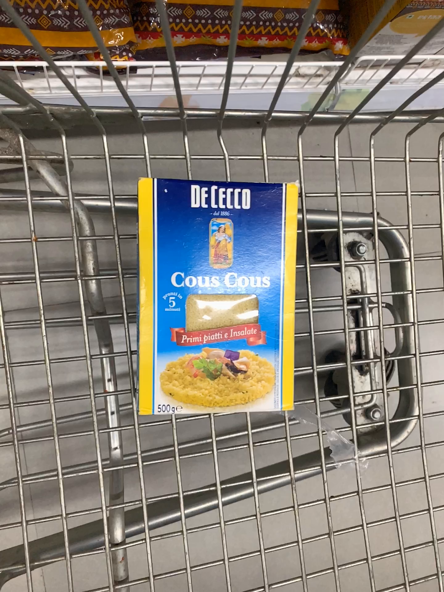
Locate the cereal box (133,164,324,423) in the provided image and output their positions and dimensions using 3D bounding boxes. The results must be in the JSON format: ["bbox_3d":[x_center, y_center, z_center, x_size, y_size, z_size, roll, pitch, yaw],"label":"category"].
[{"bbox_3d":[0.002,-0.001,0.314,0.120,0.050,0.160,0,93,-7],"label":"cereal box"}]
